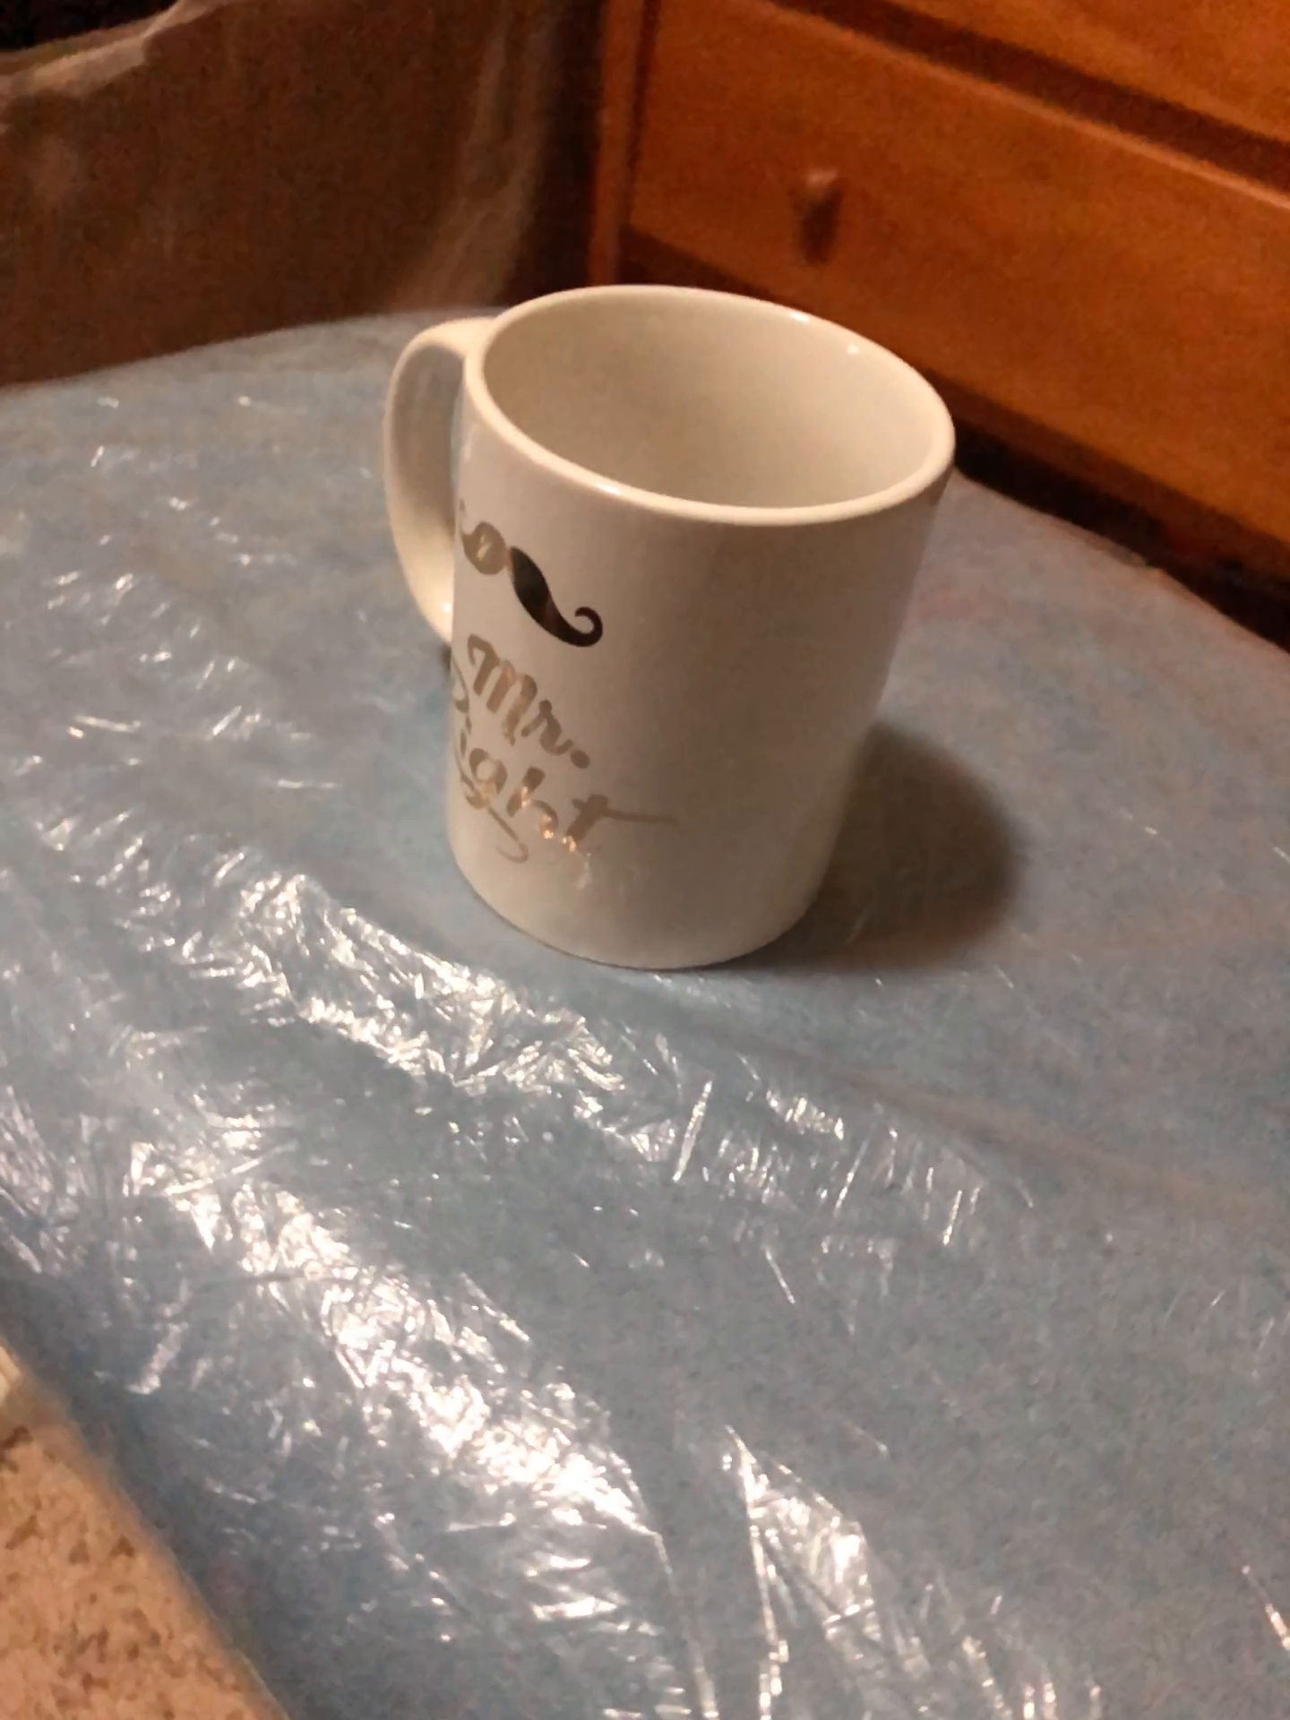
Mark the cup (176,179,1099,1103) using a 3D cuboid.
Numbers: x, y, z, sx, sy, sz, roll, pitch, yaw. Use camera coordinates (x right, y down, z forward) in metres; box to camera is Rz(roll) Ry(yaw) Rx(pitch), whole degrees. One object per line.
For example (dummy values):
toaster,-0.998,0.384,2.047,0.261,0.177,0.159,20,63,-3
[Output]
cup,-0.012,-0.053,0.294,0.100,0.110,0.140,-26,53,-35
